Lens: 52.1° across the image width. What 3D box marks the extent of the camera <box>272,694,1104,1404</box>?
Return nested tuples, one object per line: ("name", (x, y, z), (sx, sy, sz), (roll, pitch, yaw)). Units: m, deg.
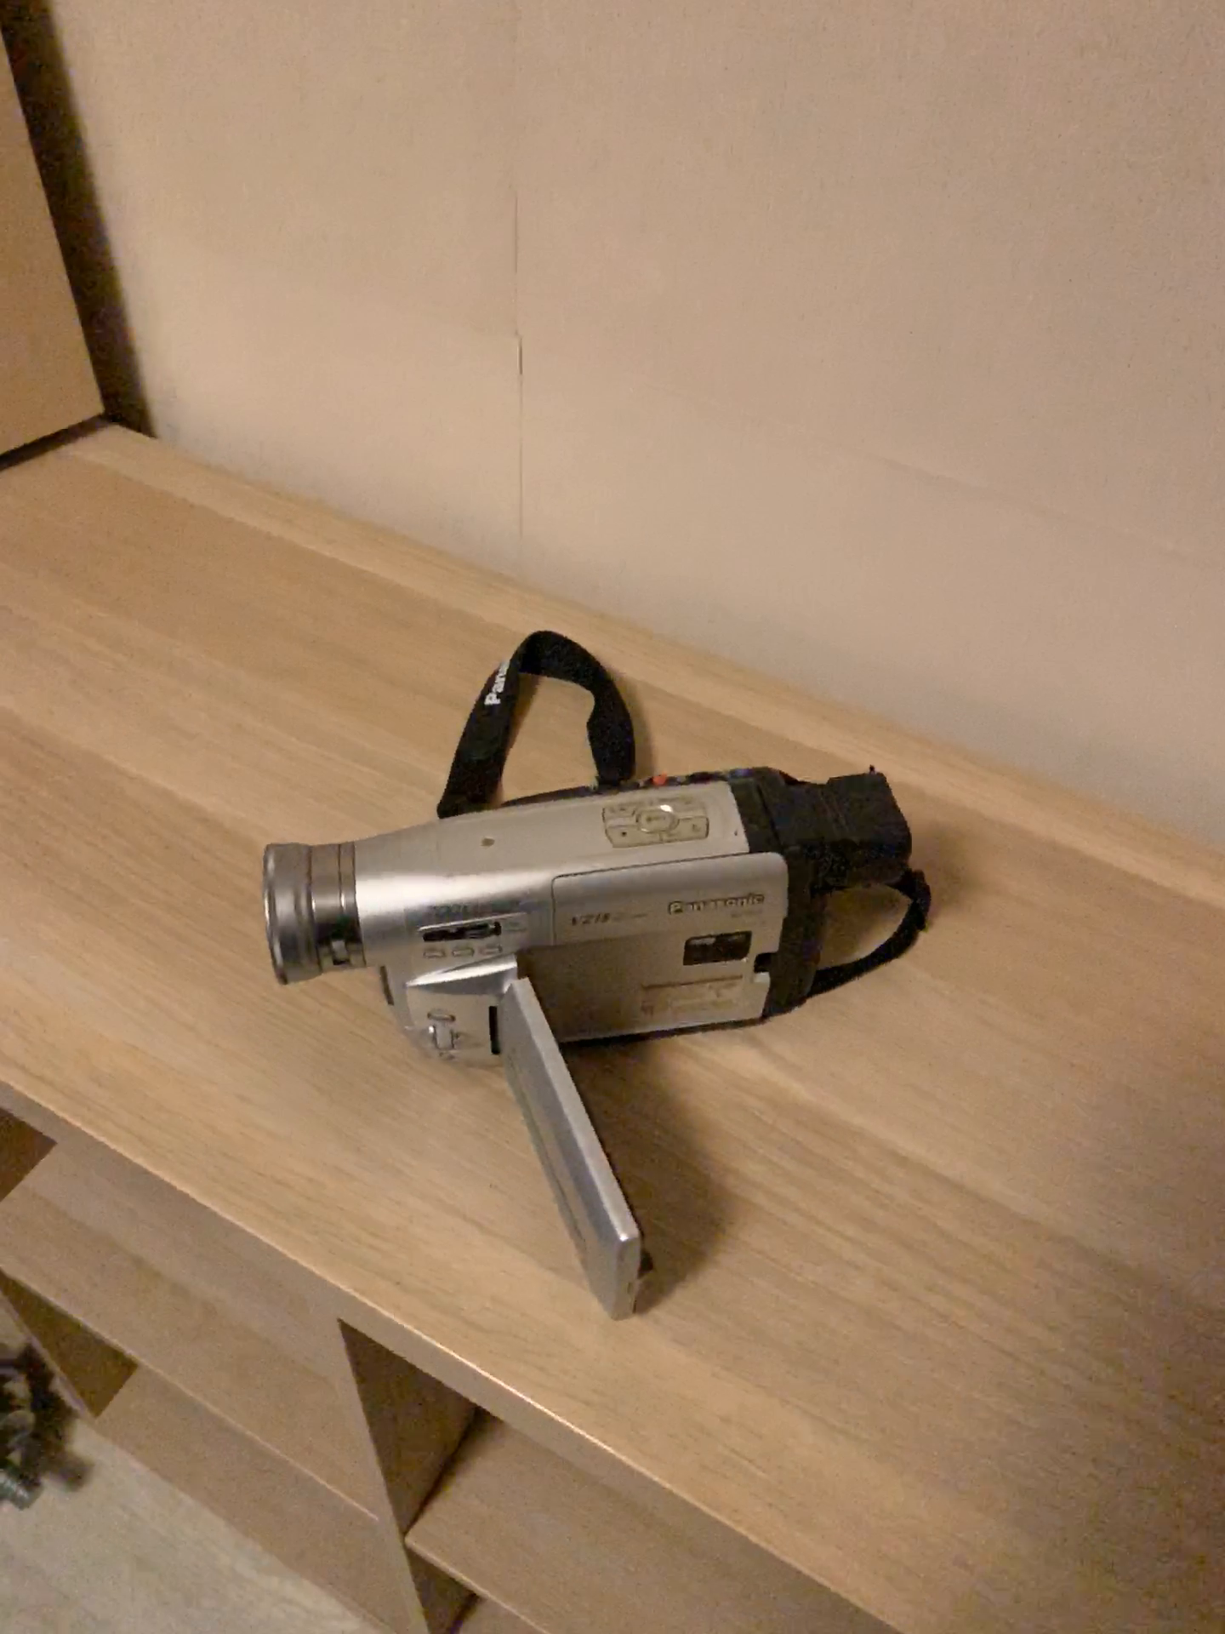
("camera", (0.007, 0.072, 0.470), (0.246, 0.109, 0.204), (-6, 46, -10))
